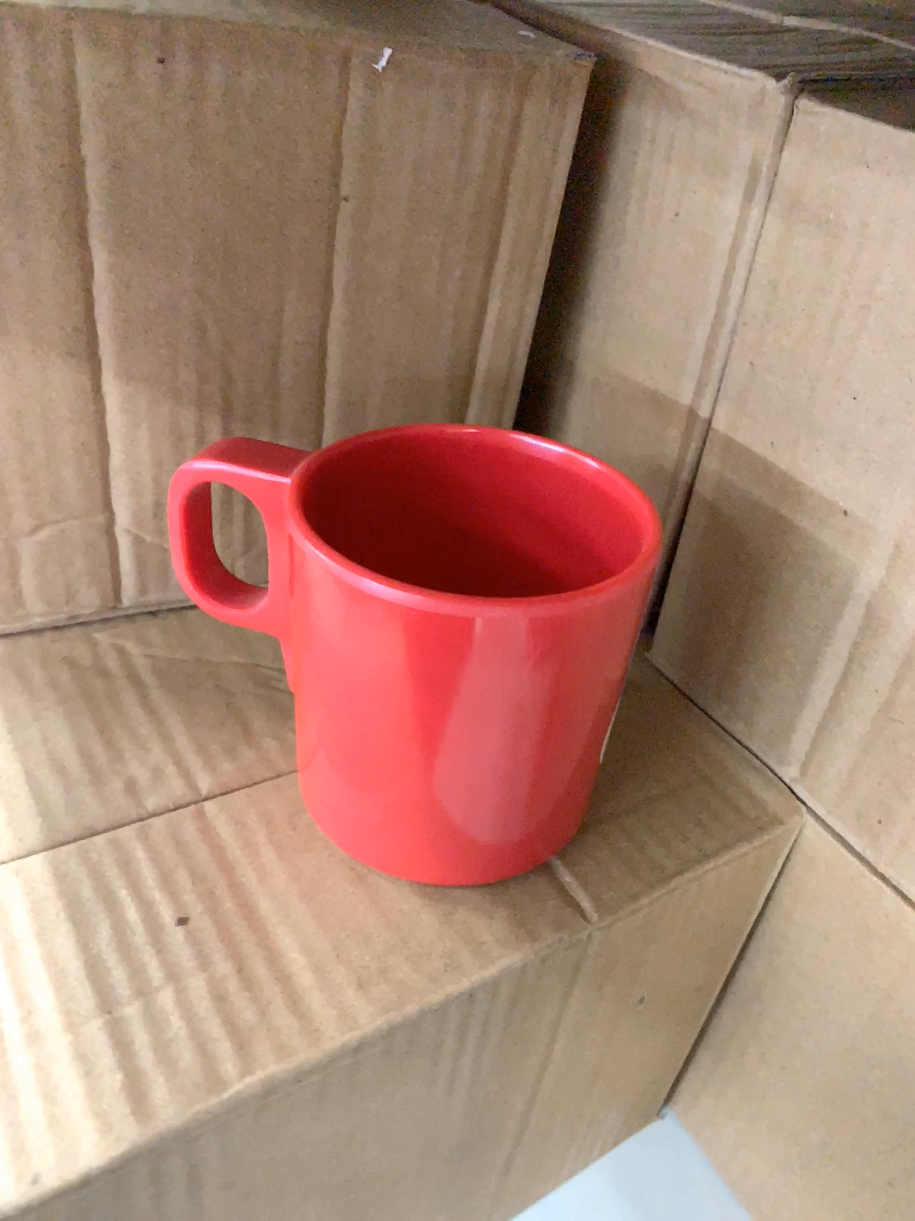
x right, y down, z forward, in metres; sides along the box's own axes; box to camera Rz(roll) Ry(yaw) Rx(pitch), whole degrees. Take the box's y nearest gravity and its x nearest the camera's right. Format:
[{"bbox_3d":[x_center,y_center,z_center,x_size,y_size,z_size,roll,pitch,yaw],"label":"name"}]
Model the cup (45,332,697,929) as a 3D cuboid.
[{"bbox_3d":[-0.017,-0.001,0.215,0.110,0.079,0.070,18,38,15],"label":"cup"}]
